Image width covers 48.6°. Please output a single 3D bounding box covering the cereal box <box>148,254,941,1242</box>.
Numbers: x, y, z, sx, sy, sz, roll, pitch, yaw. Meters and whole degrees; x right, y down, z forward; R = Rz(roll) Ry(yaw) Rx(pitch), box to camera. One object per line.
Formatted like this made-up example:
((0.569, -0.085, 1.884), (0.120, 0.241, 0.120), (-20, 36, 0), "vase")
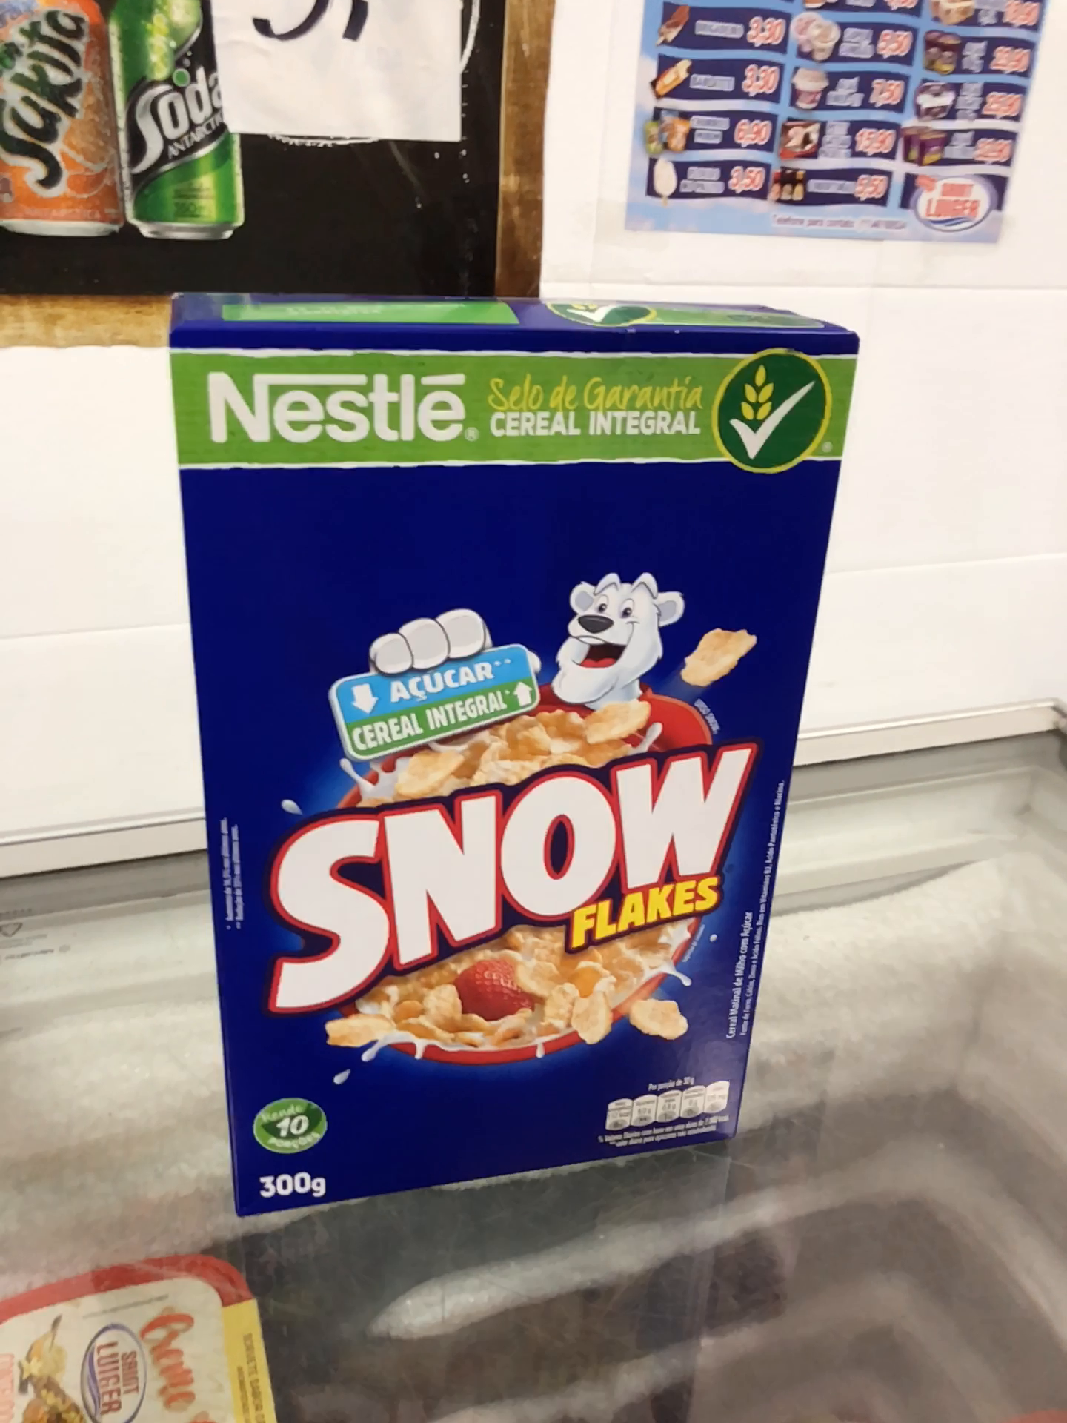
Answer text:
((-0.007, 0.016, 0.332), (0.170, 0.258, 0.070), (-2, 26, -13), "cereal box")
